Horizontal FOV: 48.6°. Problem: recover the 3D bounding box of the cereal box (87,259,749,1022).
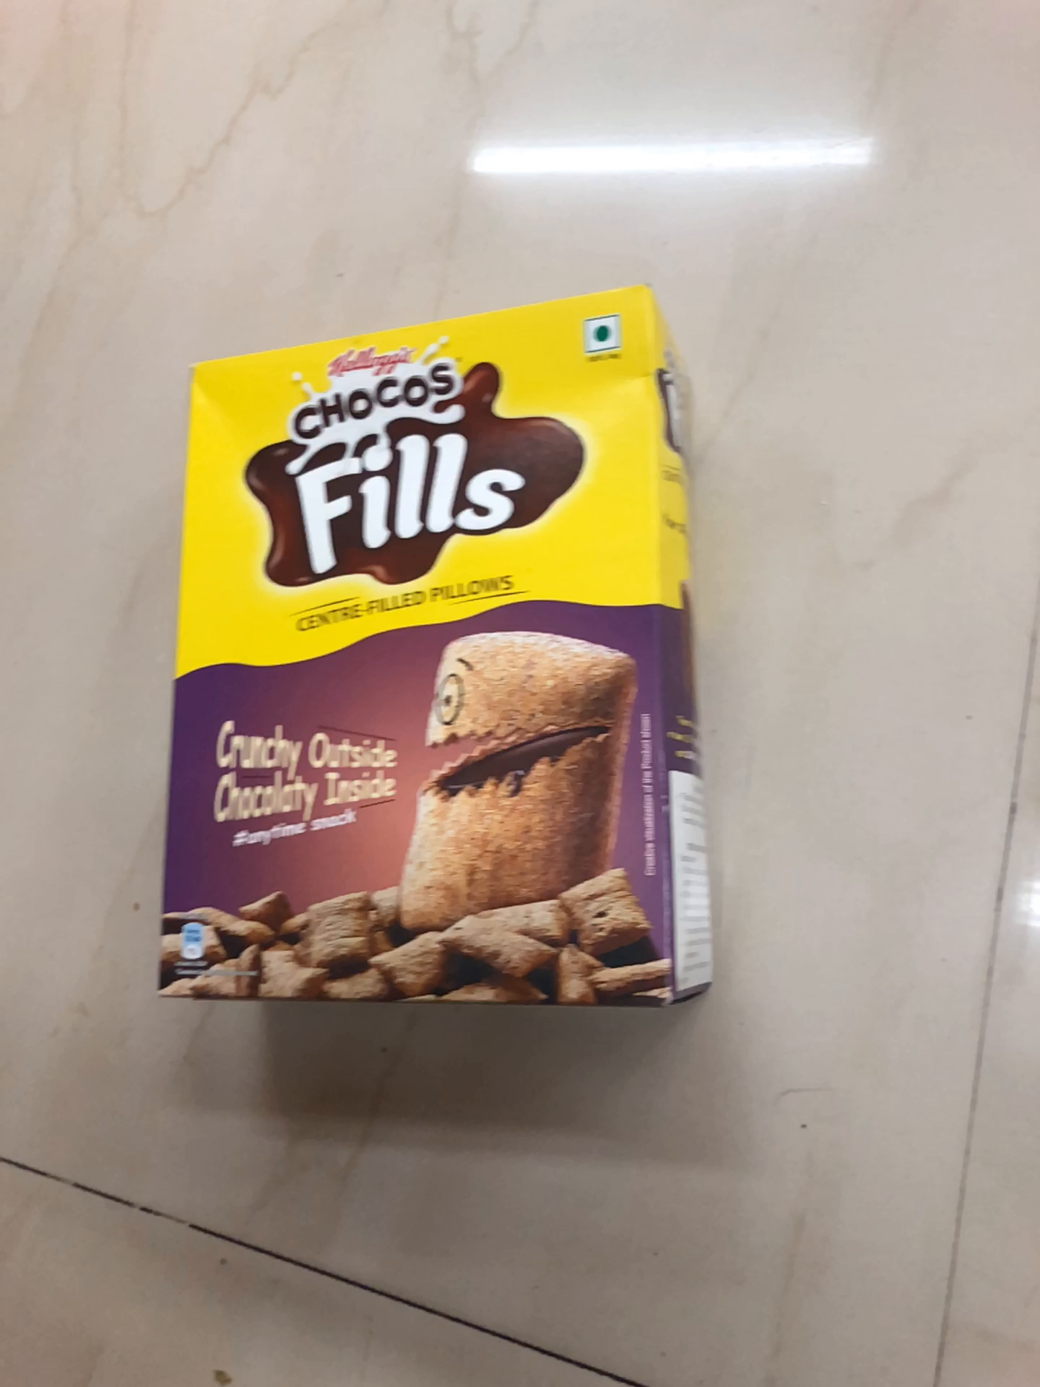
[{"bbox_3d":[-0.033,-0.009,0.396,0.200,0.070,0.230,-5,76,17],"label":"cereal box"}]
